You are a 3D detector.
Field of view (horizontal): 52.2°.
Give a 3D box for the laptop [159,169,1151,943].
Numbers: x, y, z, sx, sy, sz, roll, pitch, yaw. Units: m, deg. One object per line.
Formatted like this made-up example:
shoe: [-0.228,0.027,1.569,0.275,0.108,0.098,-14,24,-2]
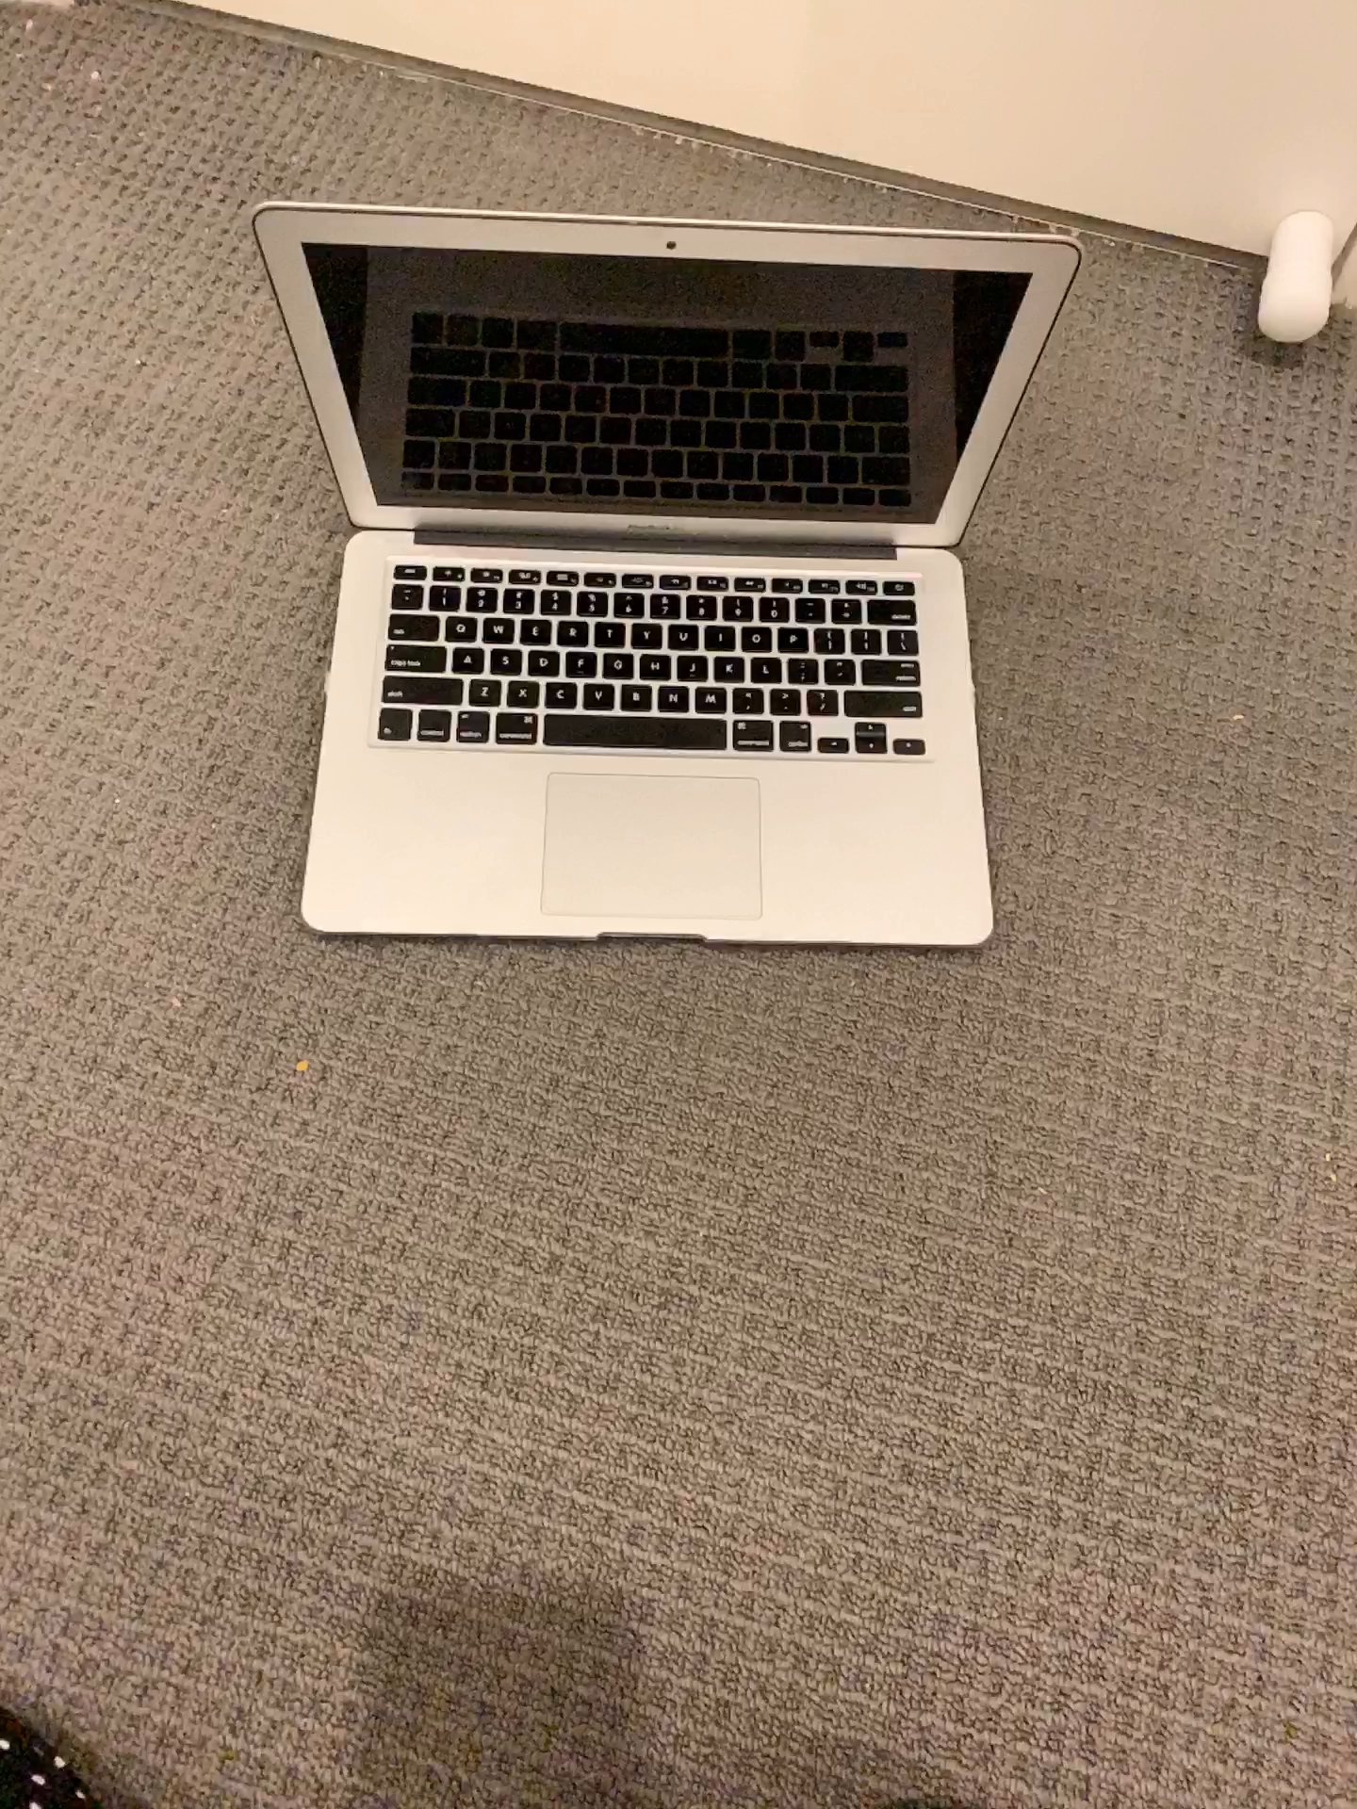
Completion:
laptop: [-0.009,-0.133,0.594,0.322,0.215,0.227,1,66,-2]
